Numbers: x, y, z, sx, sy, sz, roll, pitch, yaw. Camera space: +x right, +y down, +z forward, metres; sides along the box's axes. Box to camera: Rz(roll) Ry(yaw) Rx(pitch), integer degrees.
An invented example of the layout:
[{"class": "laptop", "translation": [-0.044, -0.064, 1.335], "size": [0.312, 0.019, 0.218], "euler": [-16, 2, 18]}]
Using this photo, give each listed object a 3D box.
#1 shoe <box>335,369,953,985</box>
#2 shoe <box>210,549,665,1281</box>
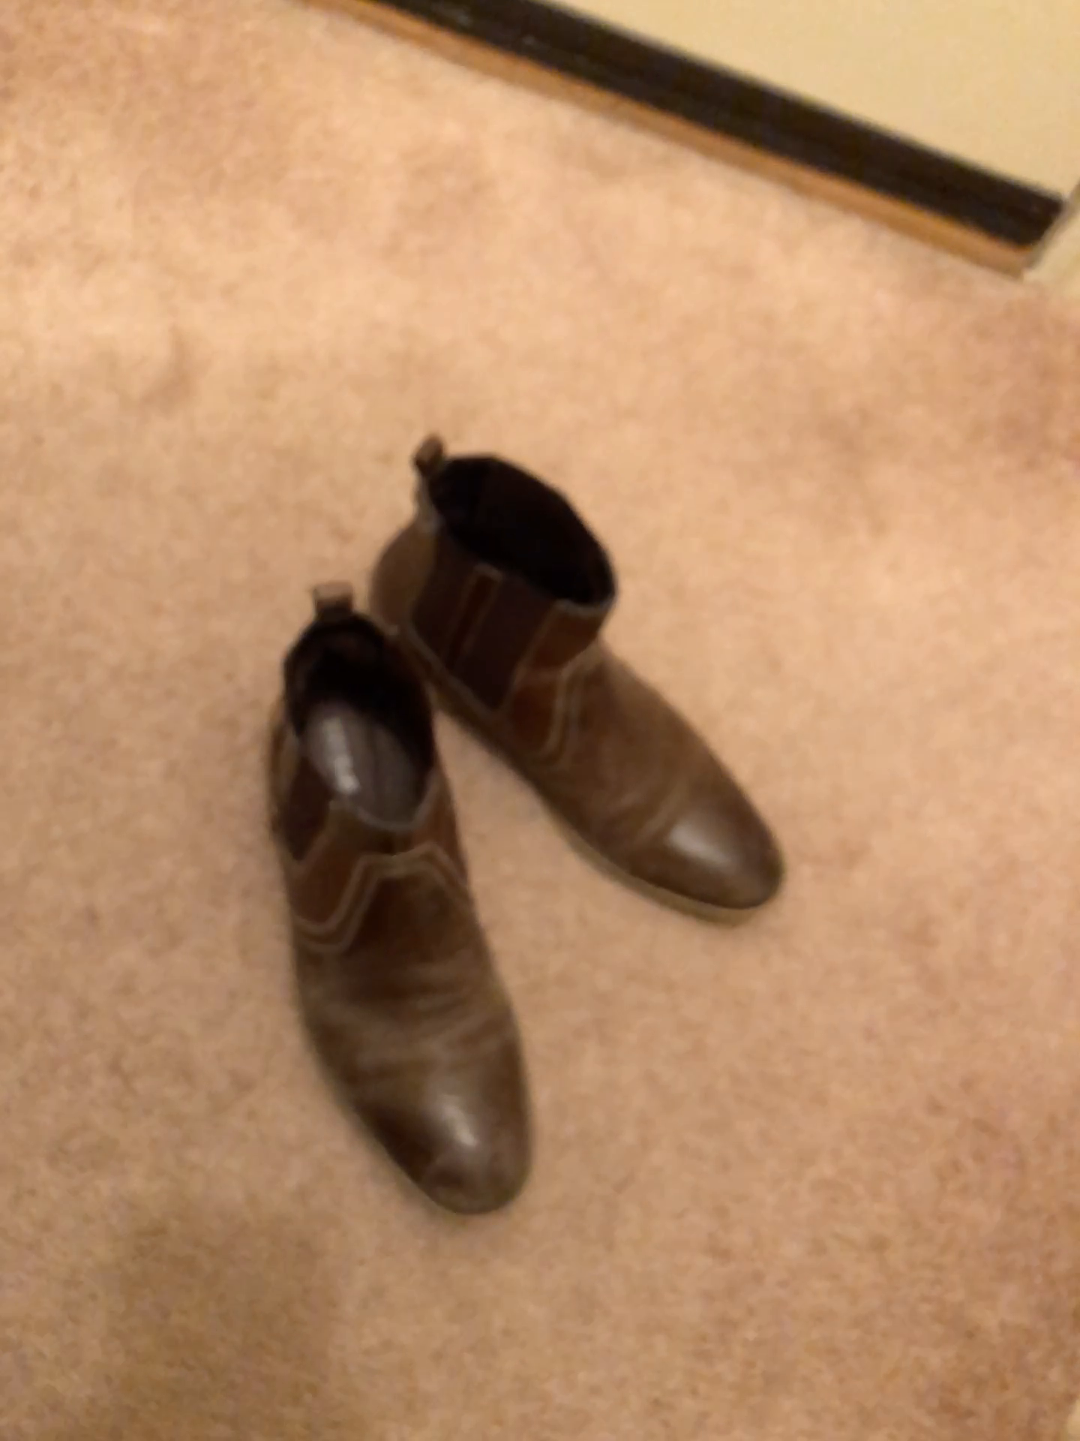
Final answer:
[{"class": "shoe", "translation": [0.041, -0.015, 0.664], "size": [0.298, 0.158, 0.119], "euler": [43, 66, 6]}, {"class": "shoe", "translation": [-0.065, 0.094, 0.597], "size": [0.119, 0.158, 0.298], "euler": [-13, 72, -17]}]
